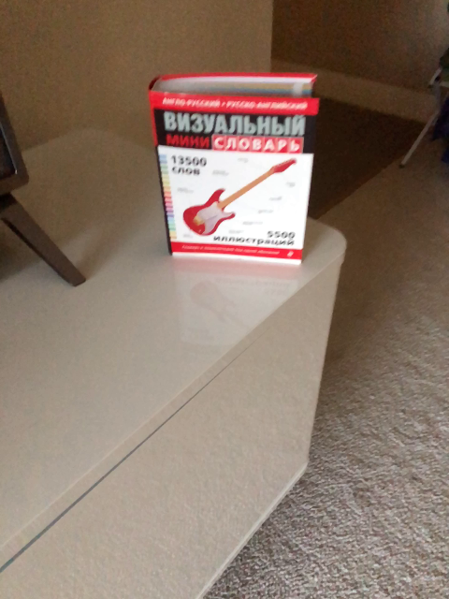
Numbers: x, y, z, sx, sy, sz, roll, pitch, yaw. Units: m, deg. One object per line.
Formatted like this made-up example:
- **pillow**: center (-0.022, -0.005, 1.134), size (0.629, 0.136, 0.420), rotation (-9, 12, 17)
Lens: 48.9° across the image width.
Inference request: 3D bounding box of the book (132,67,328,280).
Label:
- **book**: center (0.008, -0.110, 0.458), size (0.150, 0.179, 0.060), rotation (3, 41, 5)
